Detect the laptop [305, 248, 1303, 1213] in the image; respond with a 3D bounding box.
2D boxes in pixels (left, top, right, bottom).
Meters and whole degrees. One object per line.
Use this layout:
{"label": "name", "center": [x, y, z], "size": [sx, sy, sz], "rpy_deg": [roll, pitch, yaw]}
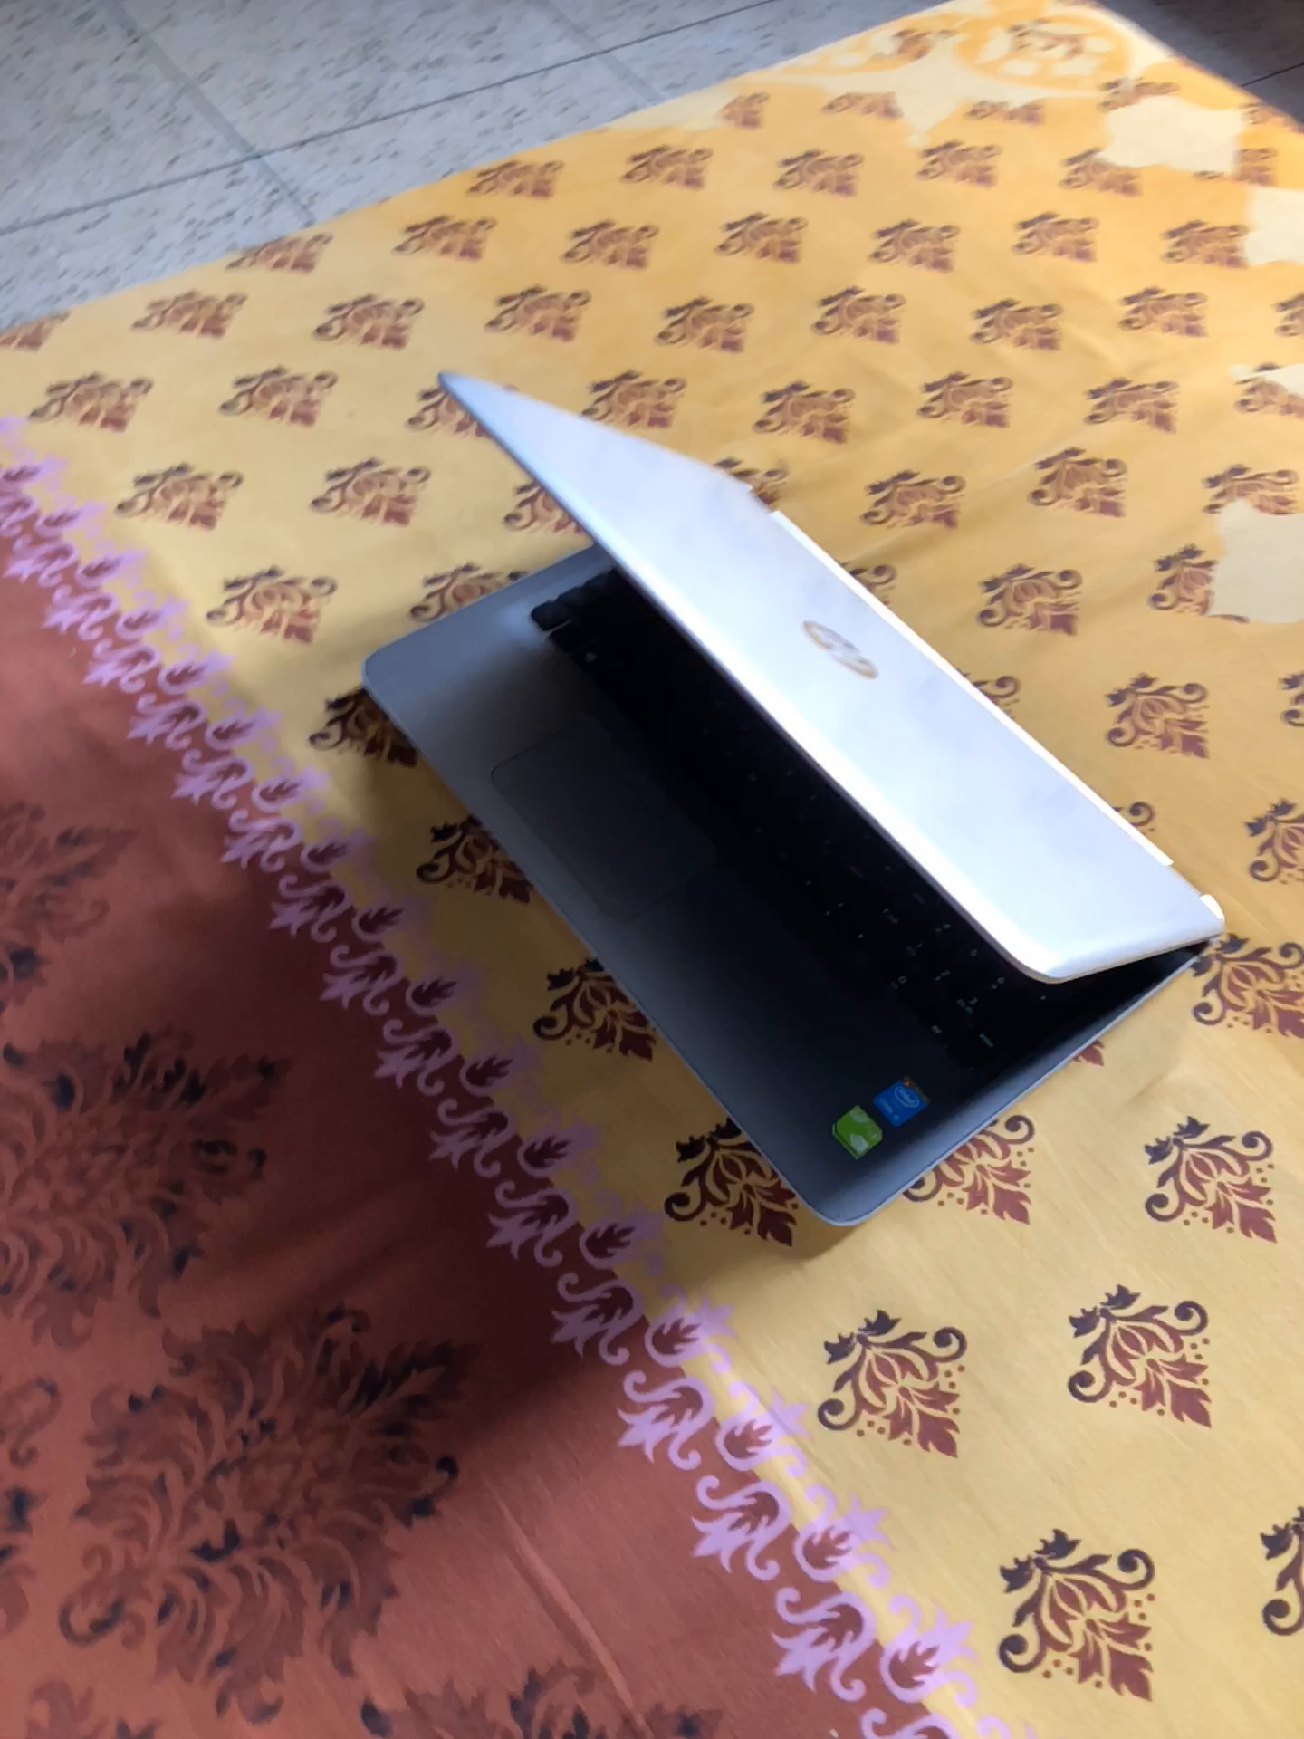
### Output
{"label": "laptop", "center": [0.060, -0.084, 0.656], "size": [0.249, 0.155, 0.373], "rpy_deg": [-31, 63, -23]}
